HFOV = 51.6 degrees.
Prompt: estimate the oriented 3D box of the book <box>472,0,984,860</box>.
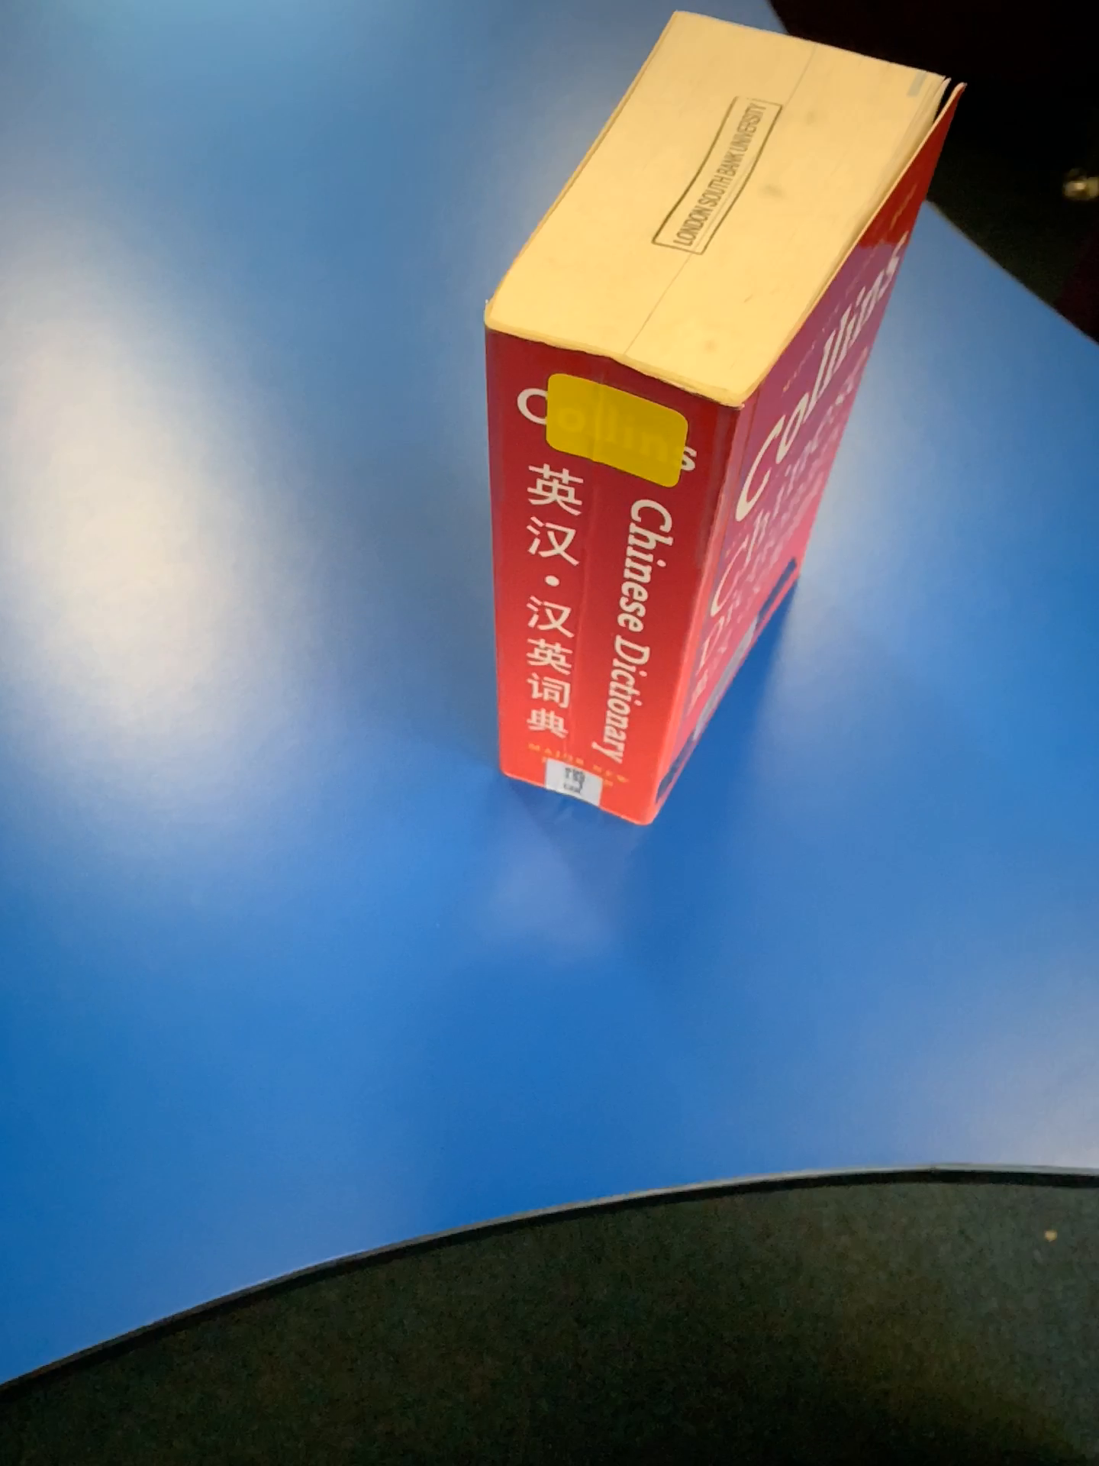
[{"bbox_3d":[0.042,-0.075,0.346,0.080,0.199,0.141,20,61,8],"label":"book"}]
